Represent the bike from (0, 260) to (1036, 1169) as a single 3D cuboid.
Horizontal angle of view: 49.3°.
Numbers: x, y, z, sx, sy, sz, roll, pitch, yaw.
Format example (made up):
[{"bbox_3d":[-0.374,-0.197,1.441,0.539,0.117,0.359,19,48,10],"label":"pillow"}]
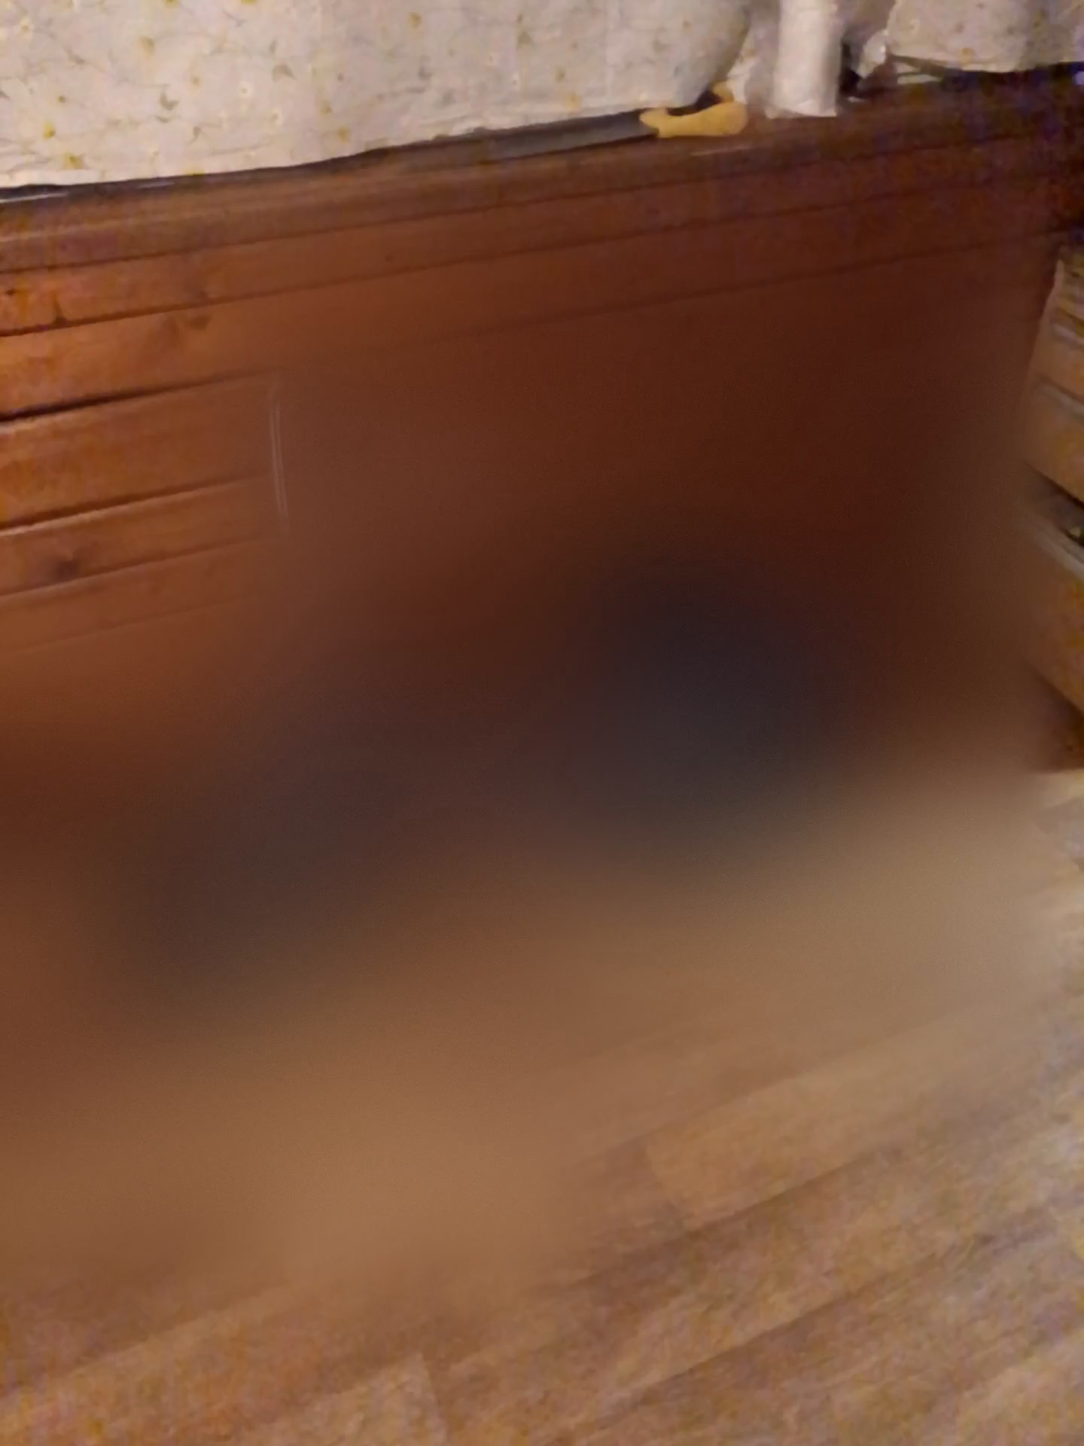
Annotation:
[{"bbox_3d":[-0.054,-0.063,1.426,0.957,0.698,0.596,-13,43,-17],"label":"bike"}]
